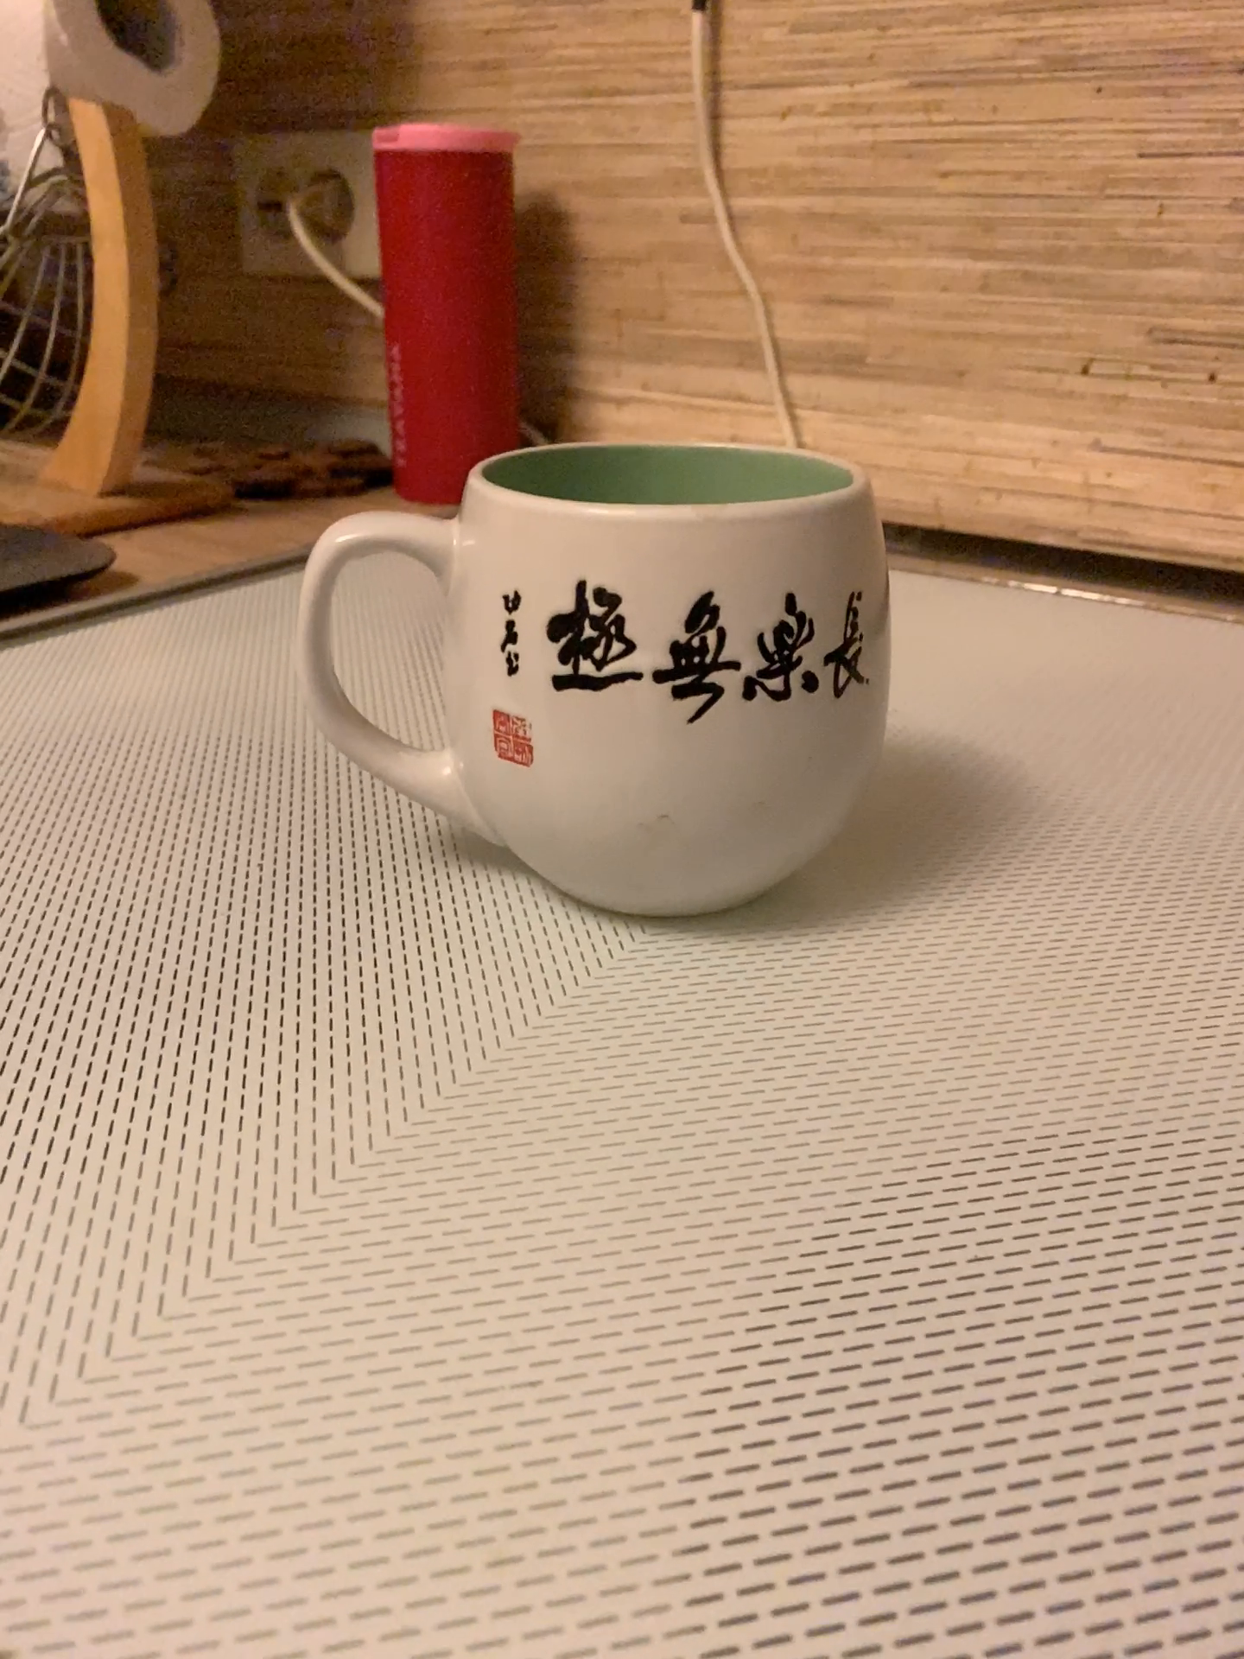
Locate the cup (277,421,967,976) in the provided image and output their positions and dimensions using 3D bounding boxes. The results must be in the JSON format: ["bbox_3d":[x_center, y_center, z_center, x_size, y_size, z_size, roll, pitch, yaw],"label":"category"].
[{"bbox_3d":[-0.008,-0.036,0.283,0.124,0.091,0.088,-4,25,-14],"label":"cup"}]
